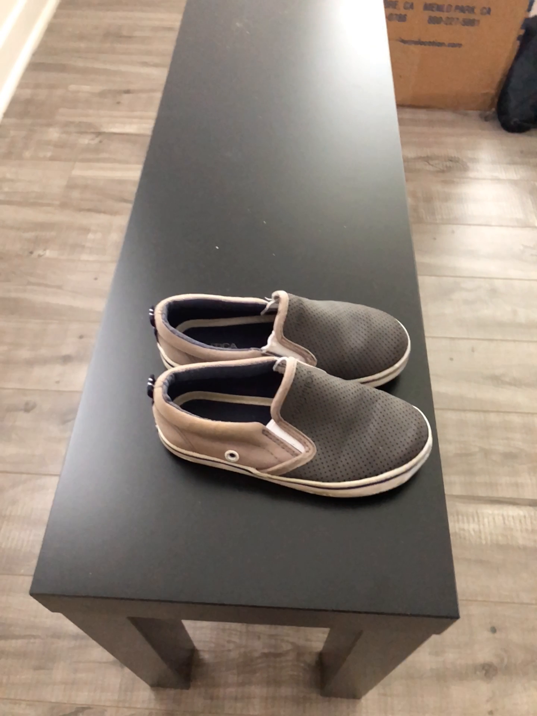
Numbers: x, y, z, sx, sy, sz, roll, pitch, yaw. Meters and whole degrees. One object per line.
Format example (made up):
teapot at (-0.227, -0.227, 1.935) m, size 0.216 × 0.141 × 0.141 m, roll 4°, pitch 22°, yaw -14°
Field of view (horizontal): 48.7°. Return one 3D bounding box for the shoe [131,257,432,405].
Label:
shoe at (0.007, -0.019, 0.424) m, size 0.190 × 0.070 × 0.078 m, roll 0°, pitch 55°, yaw -2°

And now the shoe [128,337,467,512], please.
shoe at (0.017, 0.044, 0.383) m, size 0.190 × 0.070 × 0.078 m, roll 3°, pitch 55°, yaw 1°
